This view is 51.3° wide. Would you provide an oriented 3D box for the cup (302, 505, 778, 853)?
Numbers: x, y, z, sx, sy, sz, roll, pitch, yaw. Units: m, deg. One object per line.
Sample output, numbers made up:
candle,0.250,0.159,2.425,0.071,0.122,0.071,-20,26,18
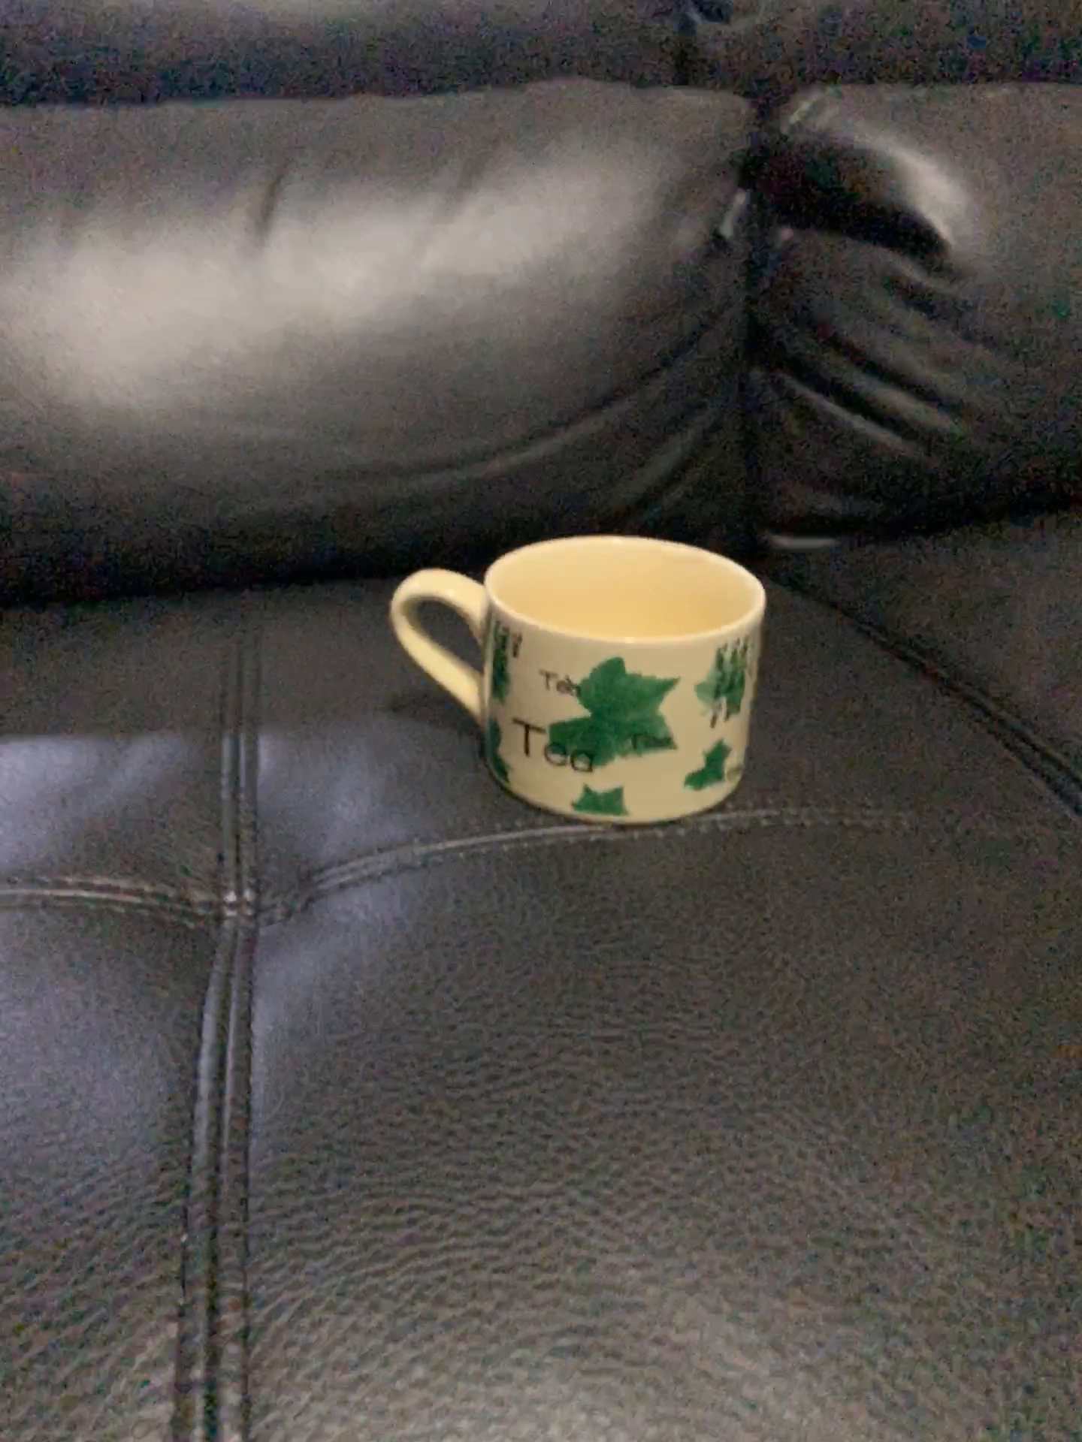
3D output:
cup,0.006,-0.018,0.332,0.118,0.060,0.091,5,28,11
